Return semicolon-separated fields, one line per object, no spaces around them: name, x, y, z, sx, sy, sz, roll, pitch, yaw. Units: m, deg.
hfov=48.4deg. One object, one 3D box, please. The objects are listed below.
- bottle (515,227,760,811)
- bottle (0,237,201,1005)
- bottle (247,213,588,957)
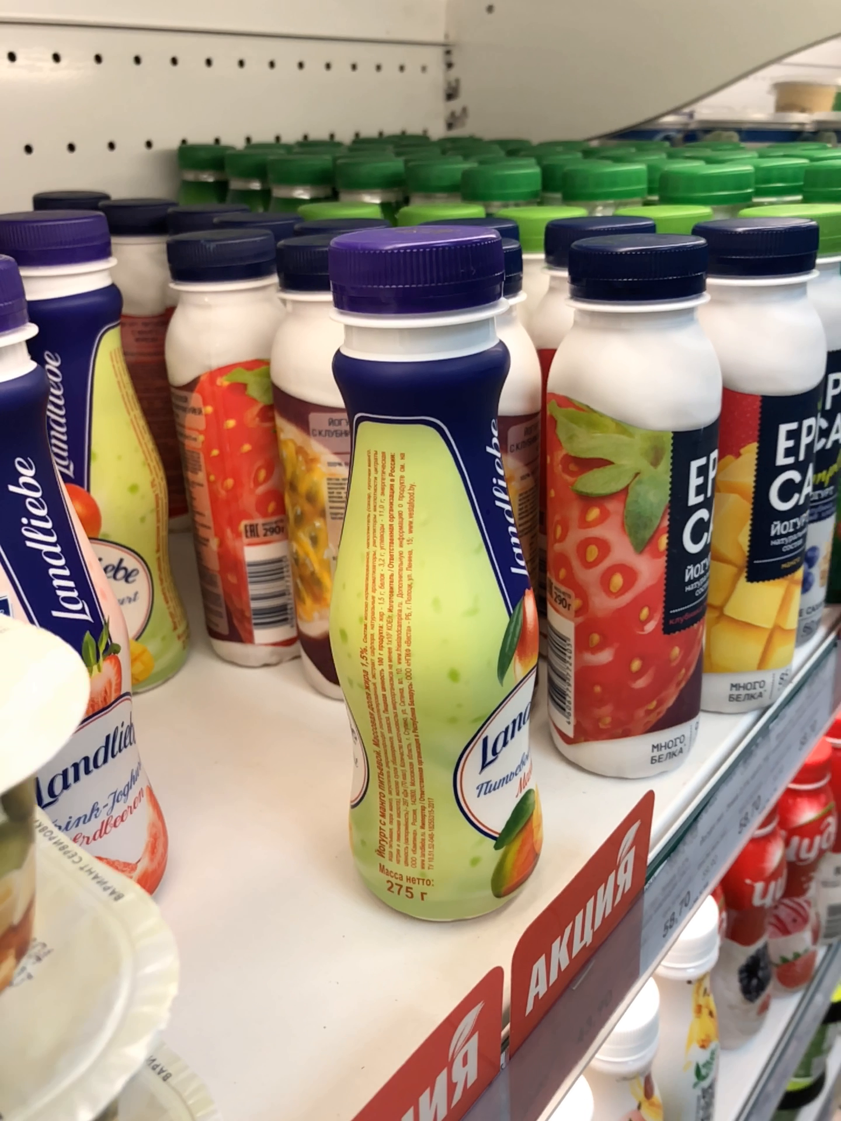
bottle;0.065;-0.012;0.299;0.048;0.173;0.051;-2;25;1
bottle;-0.106;0.016;0.236;0.053;0.178;0.057;-2;25;1
bottle;0.004;0.007;0.242;0.053;0.177;0.055;-2;25;1
